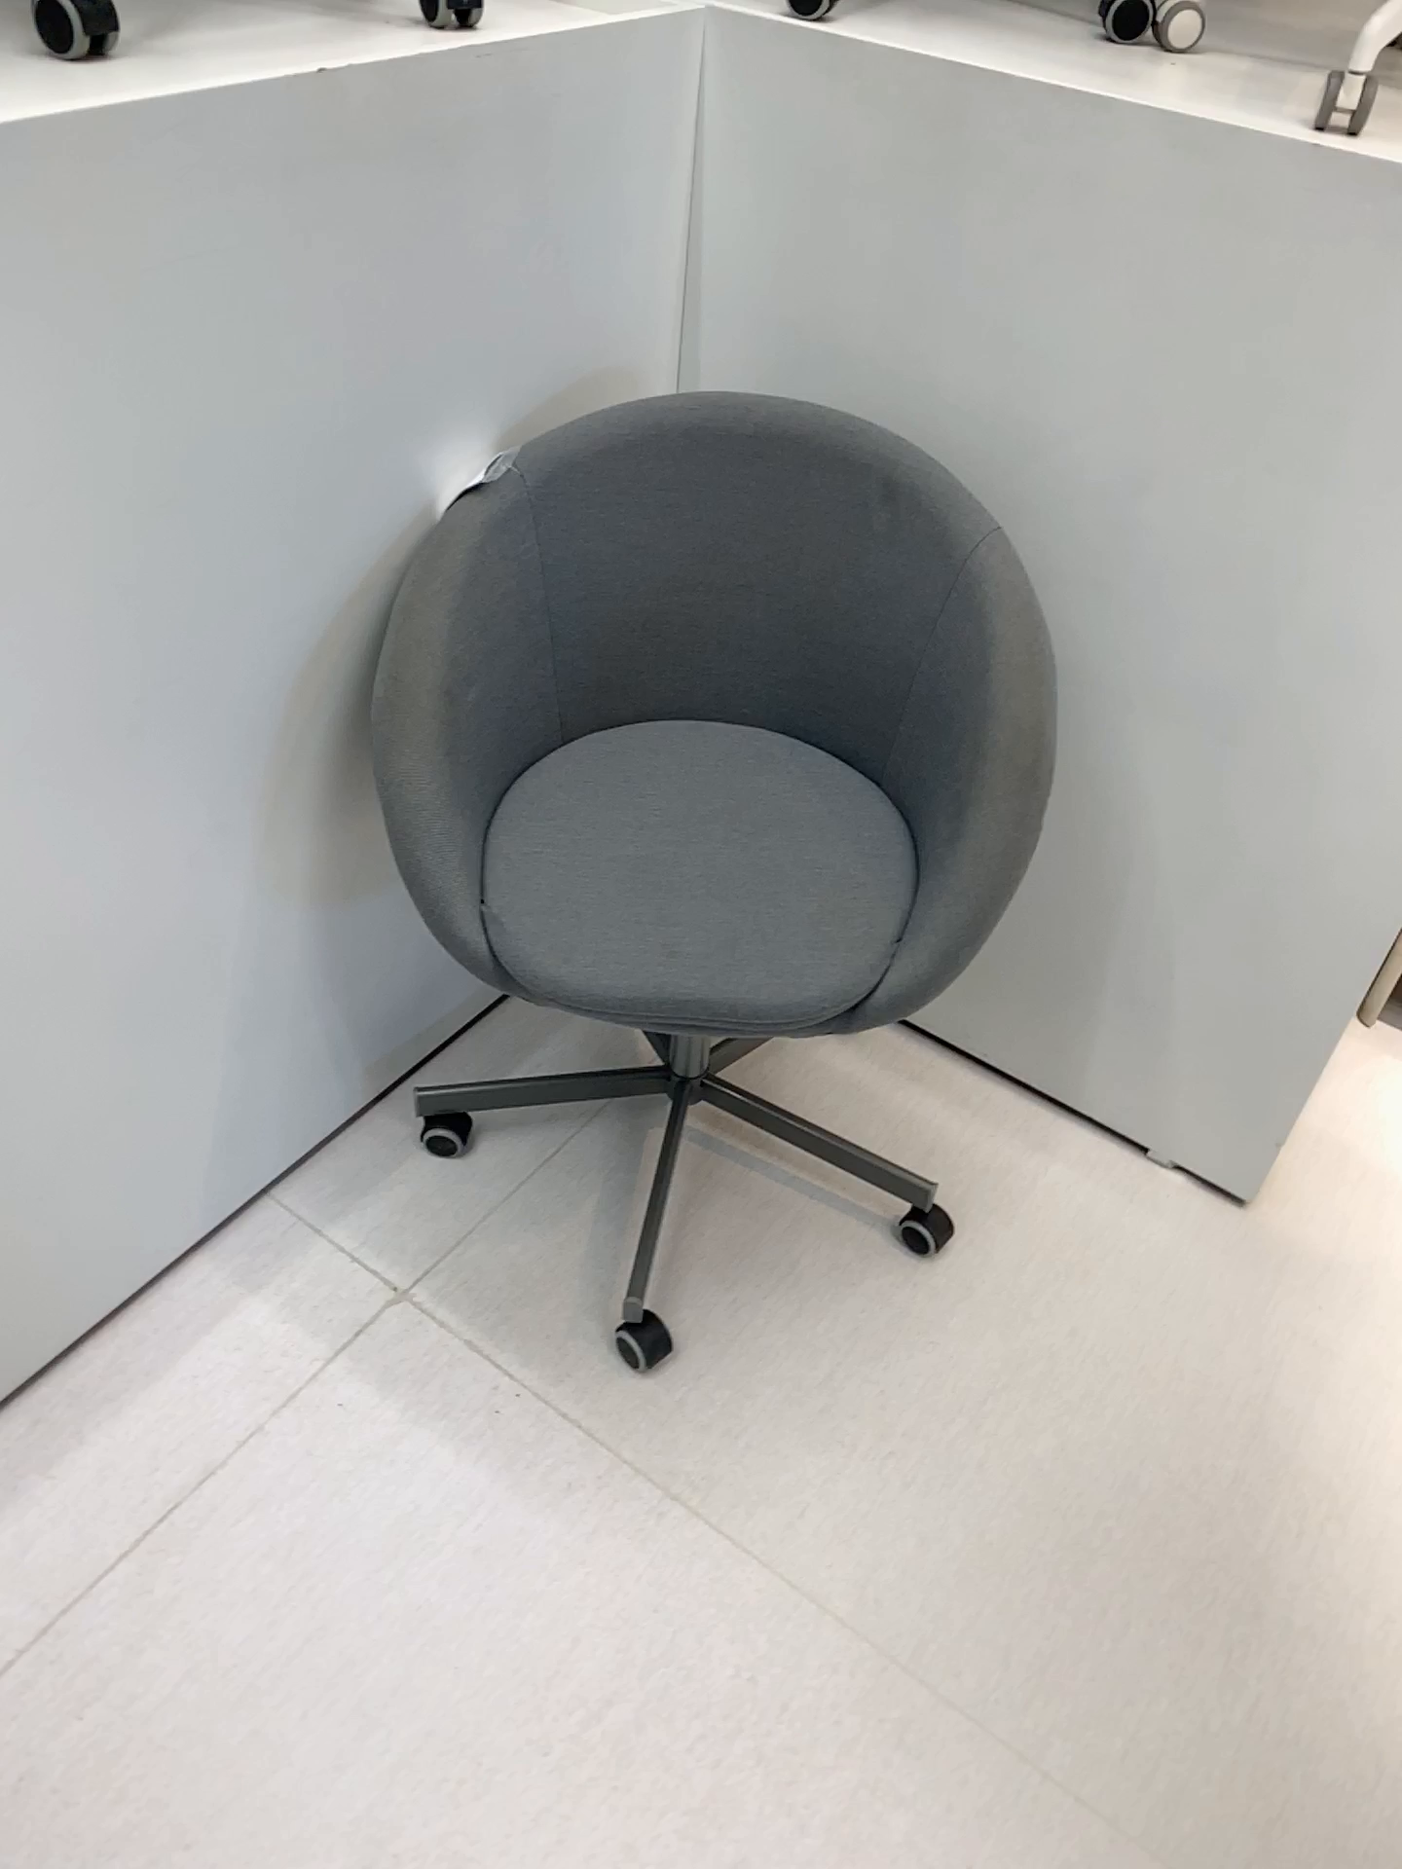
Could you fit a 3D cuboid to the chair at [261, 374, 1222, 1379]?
[{"bbox_3d":[-0.011,-0.075,1.622,0.720,0.767,0.833,2,42,-5],"label":"chair"}]
